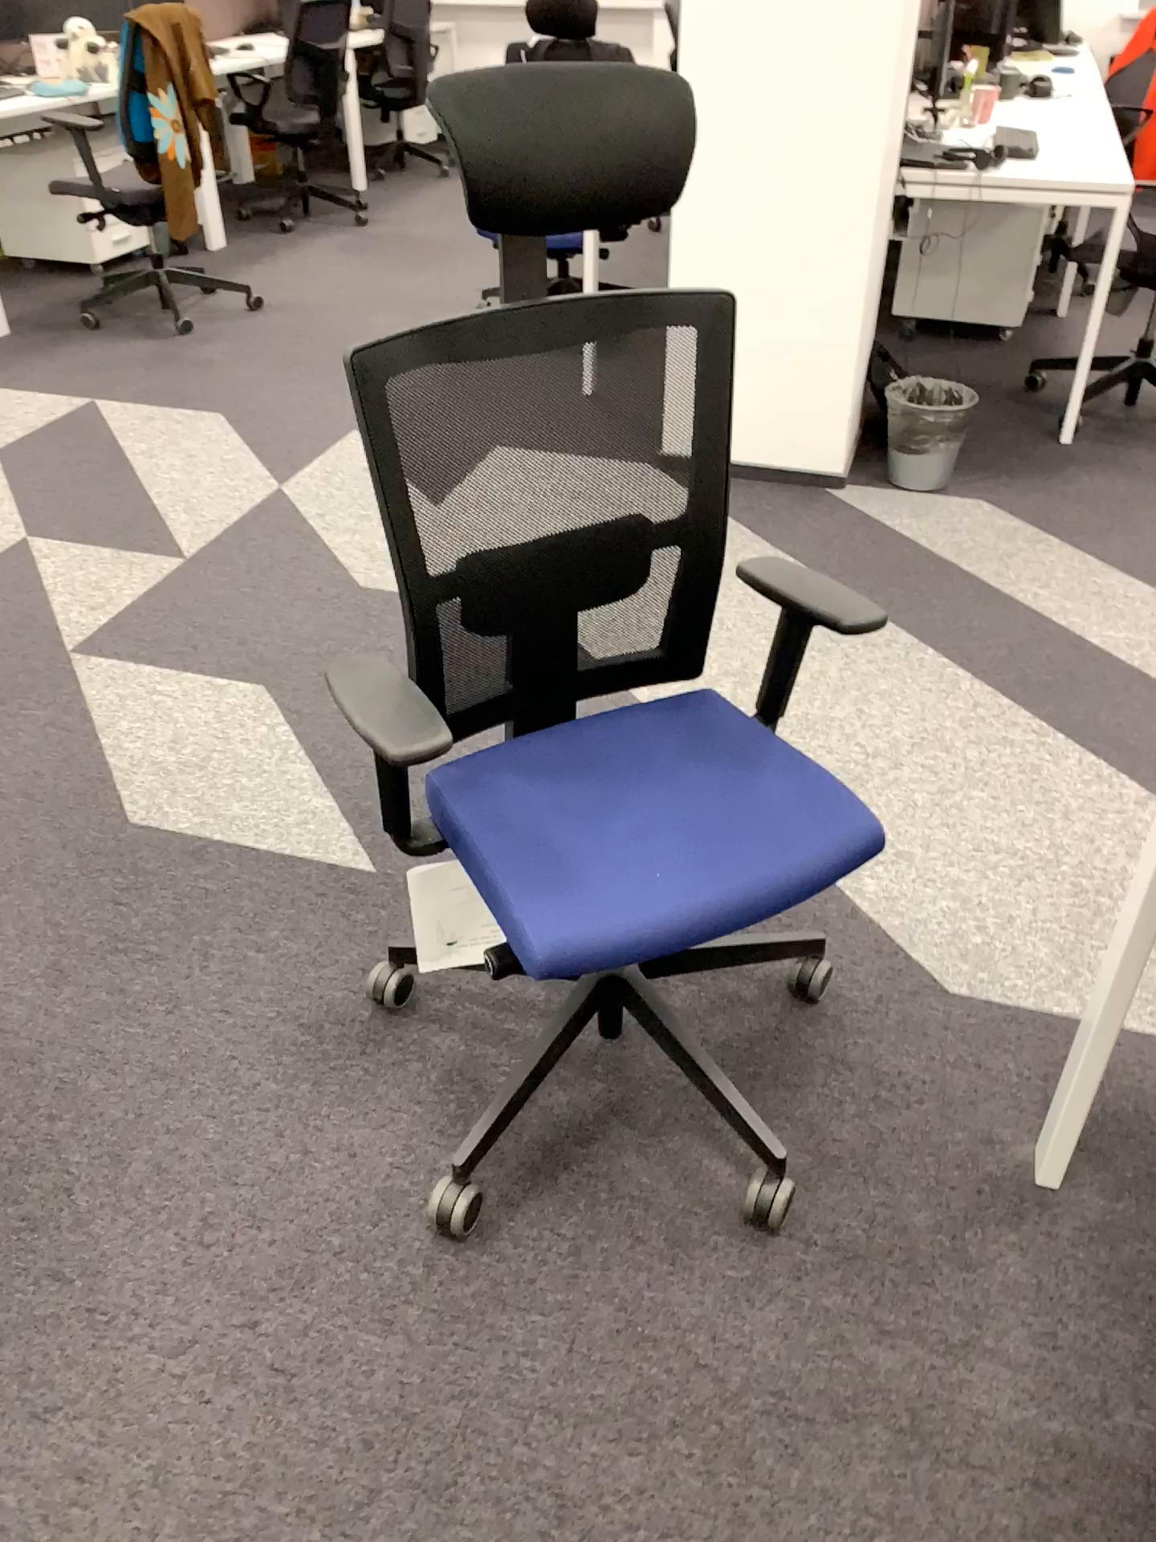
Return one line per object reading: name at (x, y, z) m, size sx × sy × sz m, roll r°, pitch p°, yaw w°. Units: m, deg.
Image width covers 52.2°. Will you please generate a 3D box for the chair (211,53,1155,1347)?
chair at (0.090, -0.084, 1.396) m, size 0.731 × 1.243 × 0.673 m, roll -12°, pitch 37°, yaw -17°
